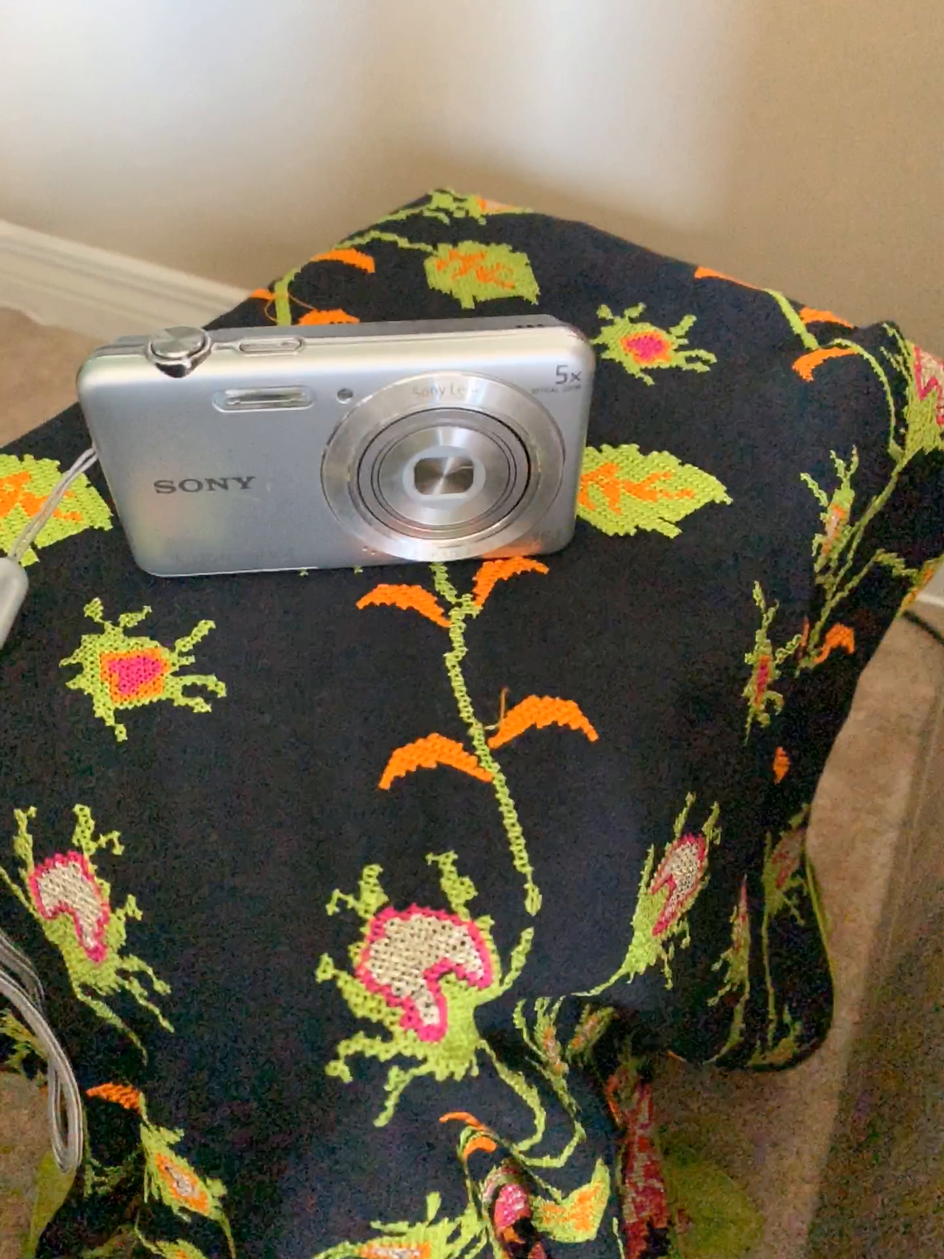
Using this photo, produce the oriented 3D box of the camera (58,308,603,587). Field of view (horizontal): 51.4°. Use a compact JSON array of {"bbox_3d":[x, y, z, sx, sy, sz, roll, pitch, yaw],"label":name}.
[{"bbox_3d":[-0.023,-0.032,0.178,0.086,0.042,0.020,-4,48,-4],"label":"camera"}]
